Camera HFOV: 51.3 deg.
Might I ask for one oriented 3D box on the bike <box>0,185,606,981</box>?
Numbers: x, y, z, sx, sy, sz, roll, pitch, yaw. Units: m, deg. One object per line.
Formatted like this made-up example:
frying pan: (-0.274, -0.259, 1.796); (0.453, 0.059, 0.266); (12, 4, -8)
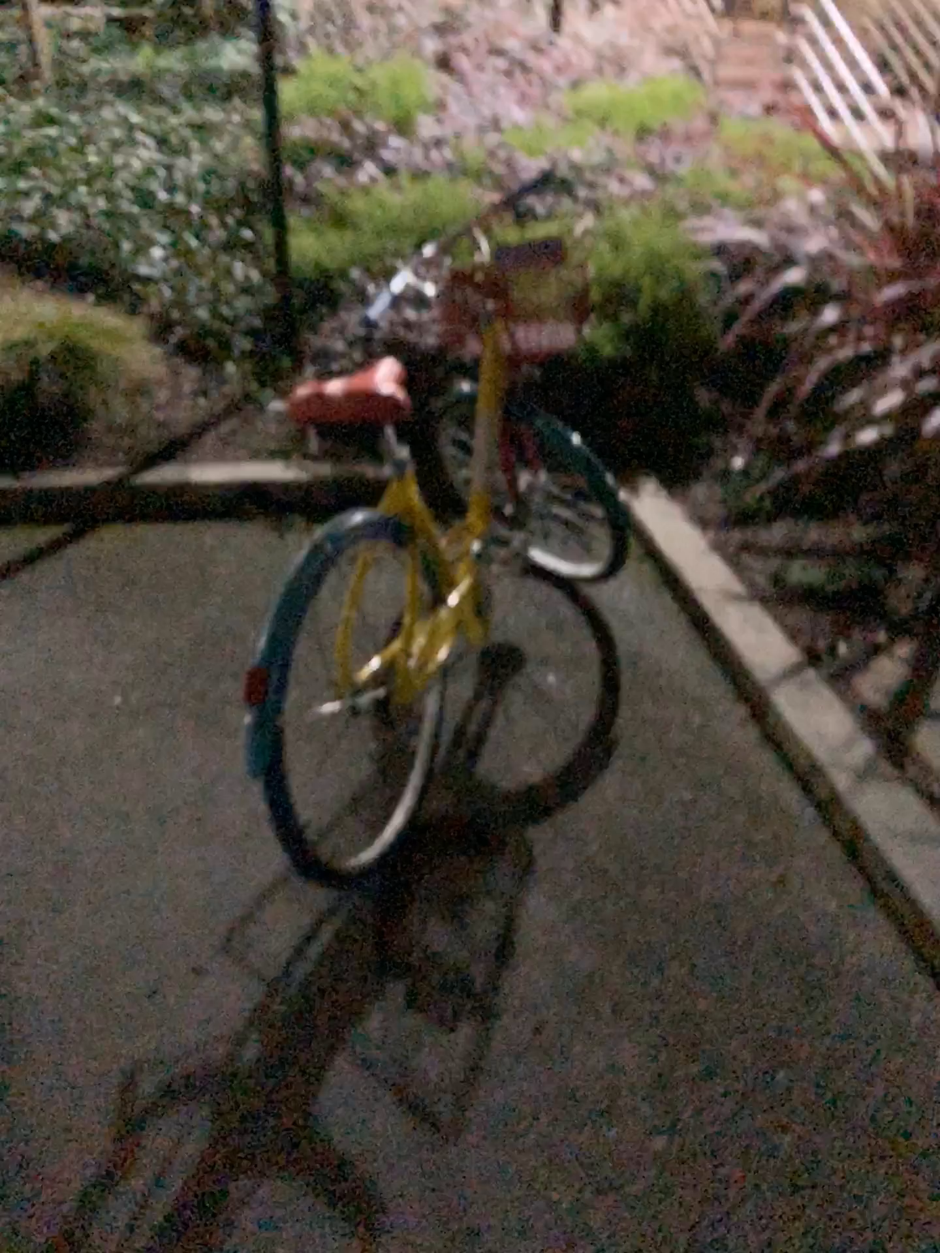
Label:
bike: (-0.126, -0.279, 2.066); (0.600, 1.086, 1.590); (7, 29, 9)
